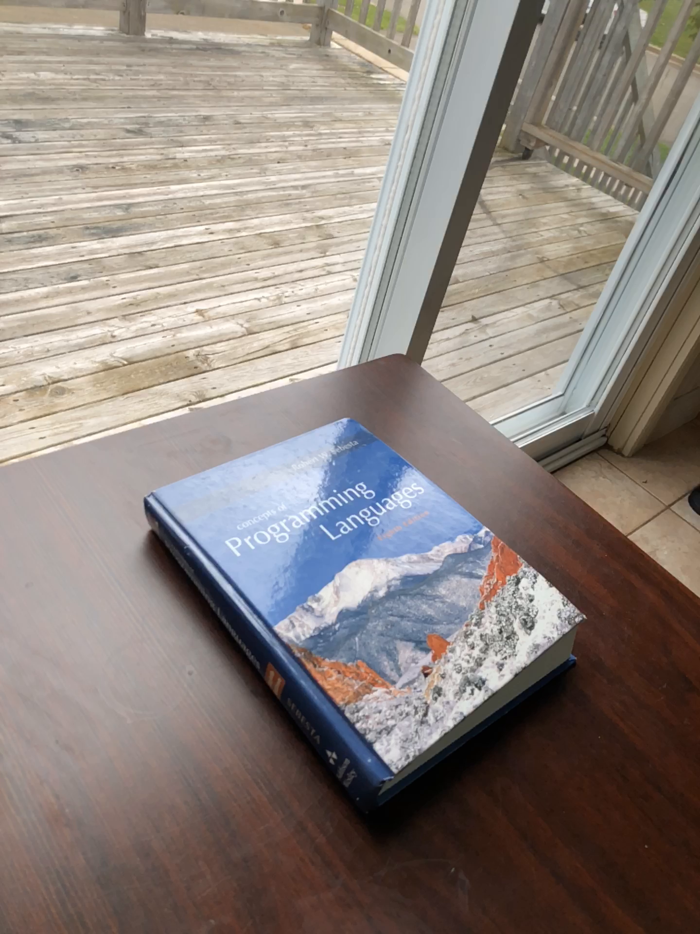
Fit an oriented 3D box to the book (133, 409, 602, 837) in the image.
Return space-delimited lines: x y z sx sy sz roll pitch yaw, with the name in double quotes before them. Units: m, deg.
"book" 0.007 0.073 0.499 0.195 0.048 0.236 -21 52 -37
